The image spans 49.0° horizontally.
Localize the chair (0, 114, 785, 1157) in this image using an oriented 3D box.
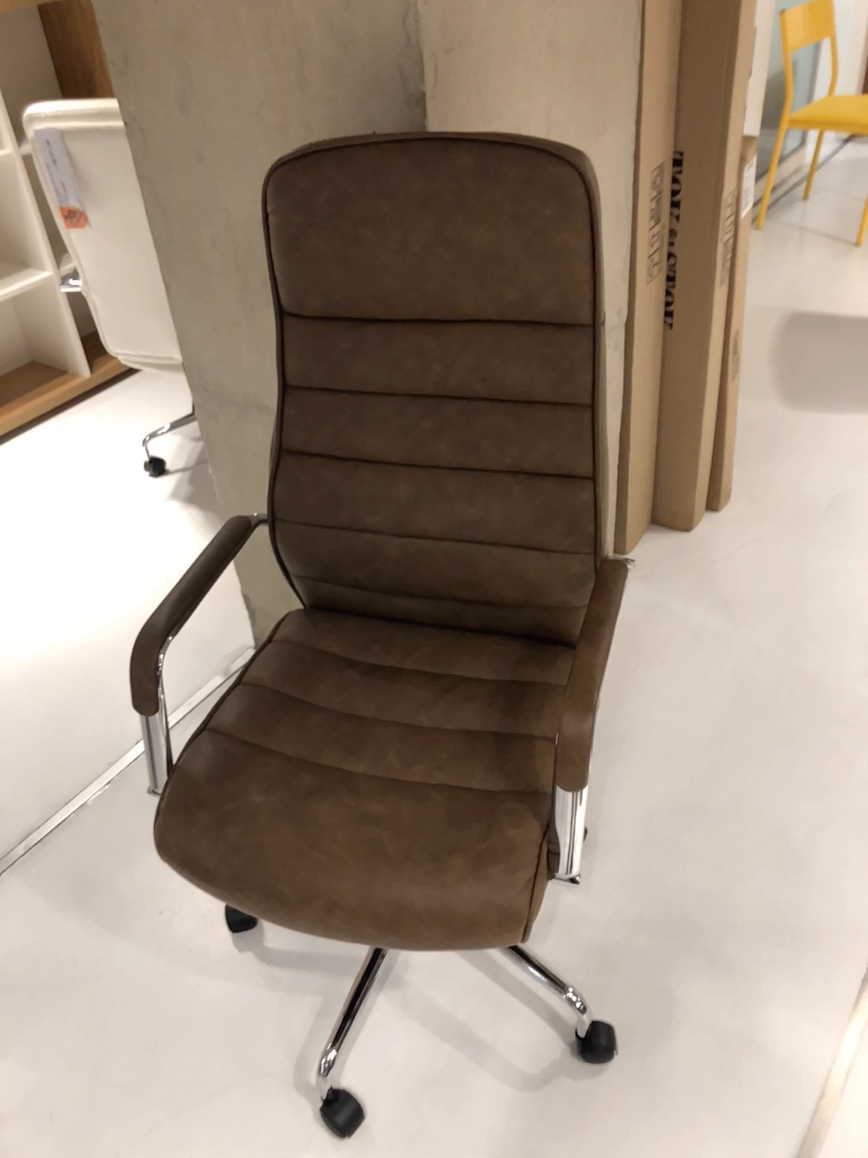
[{"bbox_3d":[-0.036,0.079,1.073,0.640,0.963,0.634,9,40,18],"label":"chair"}]
